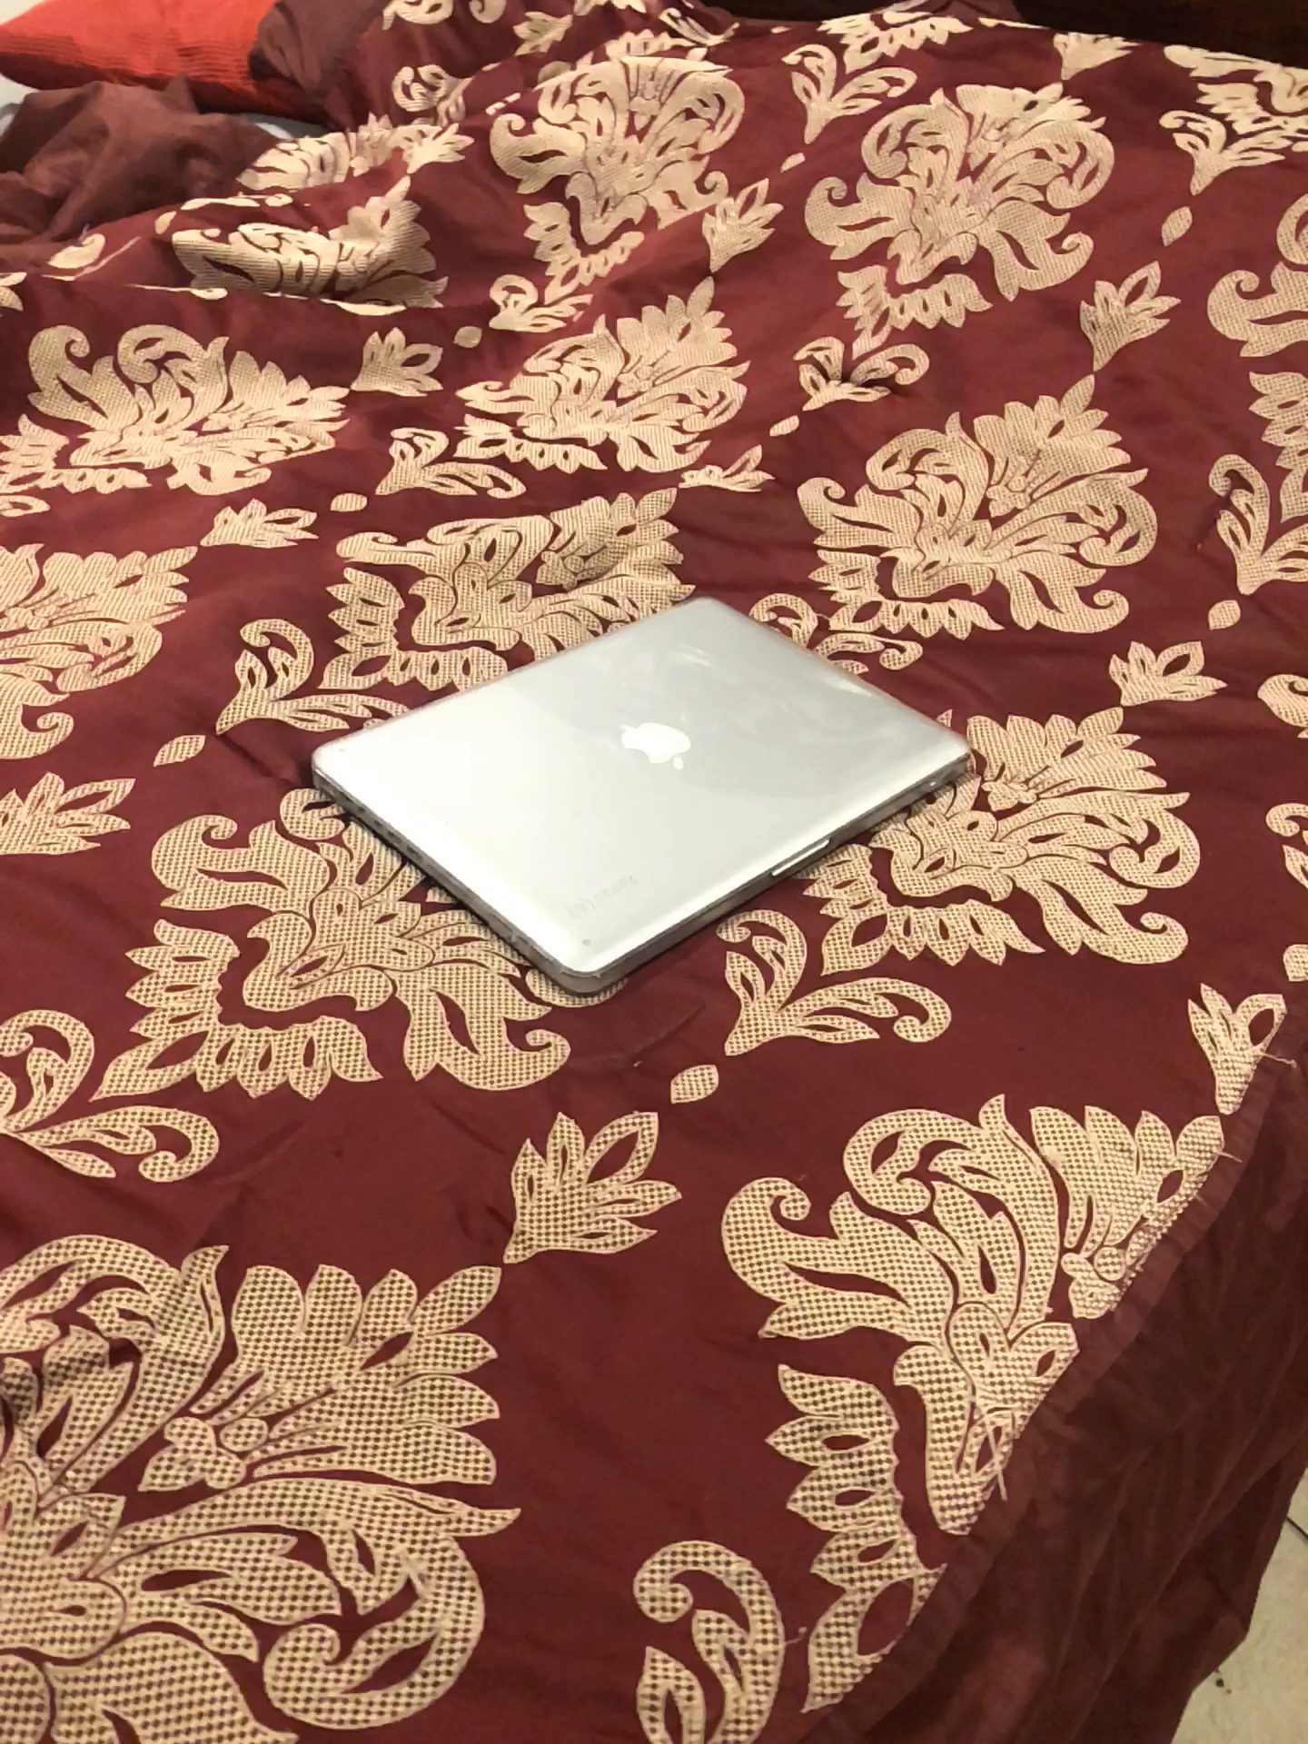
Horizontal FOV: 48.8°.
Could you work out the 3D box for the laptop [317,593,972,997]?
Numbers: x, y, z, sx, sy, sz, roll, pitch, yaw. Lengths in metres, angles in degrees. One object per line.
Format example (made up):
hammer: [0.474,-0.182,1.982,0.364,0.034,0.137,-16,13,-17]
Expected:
laptop: [0.003,-0.062,0.800,0.208,0.015,0.304,36,47,30]
